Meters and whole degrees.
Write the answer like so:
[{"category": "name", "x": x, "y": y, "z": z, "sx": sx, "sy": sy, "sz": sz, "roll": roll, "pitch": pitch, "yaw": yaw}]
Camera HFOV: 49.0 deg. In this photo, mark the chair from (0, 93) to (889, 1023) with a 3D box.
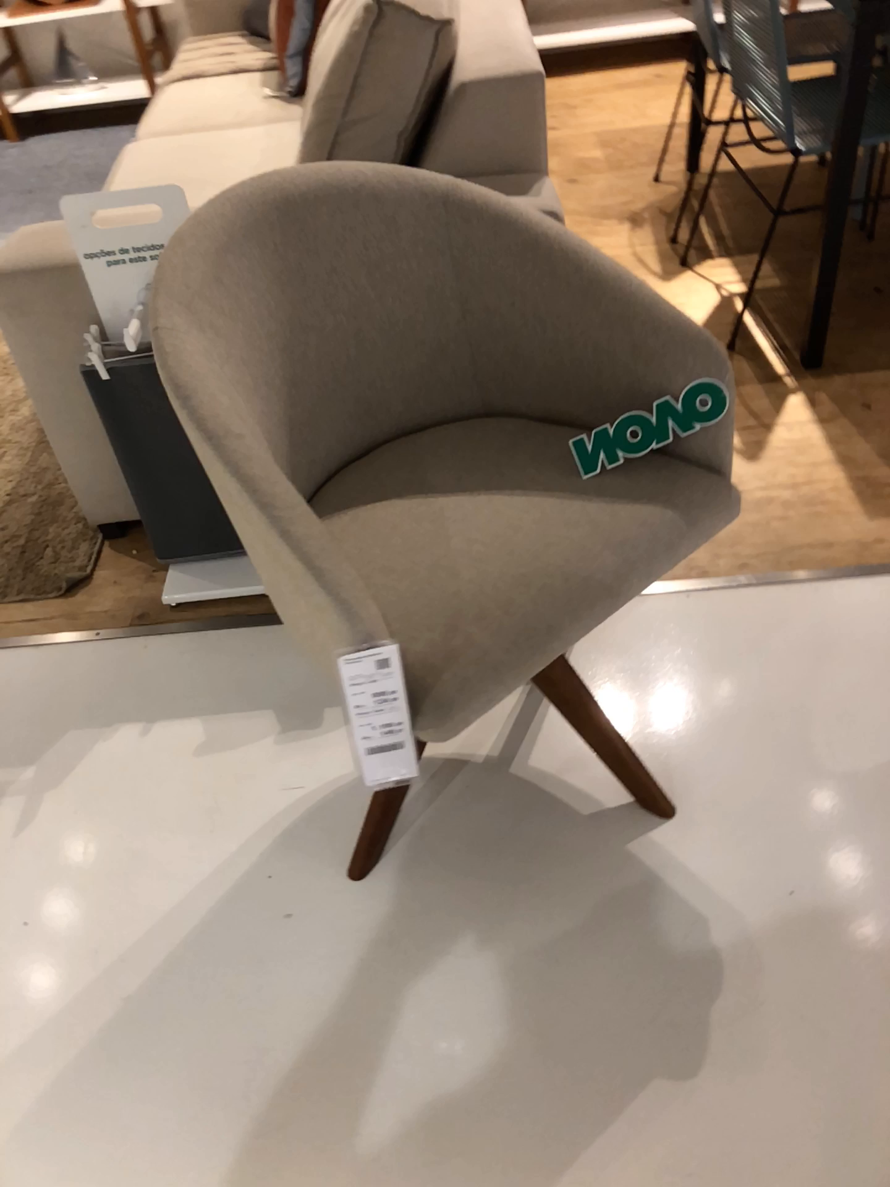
[{"category": "chair", "x": 0.010, "y": -0.094, "z": 1.317, "sx": 0.692, "sy": 0.794, "sz": 0.713, "roll": -34, "pitch": 48, "yaw": -26}]
